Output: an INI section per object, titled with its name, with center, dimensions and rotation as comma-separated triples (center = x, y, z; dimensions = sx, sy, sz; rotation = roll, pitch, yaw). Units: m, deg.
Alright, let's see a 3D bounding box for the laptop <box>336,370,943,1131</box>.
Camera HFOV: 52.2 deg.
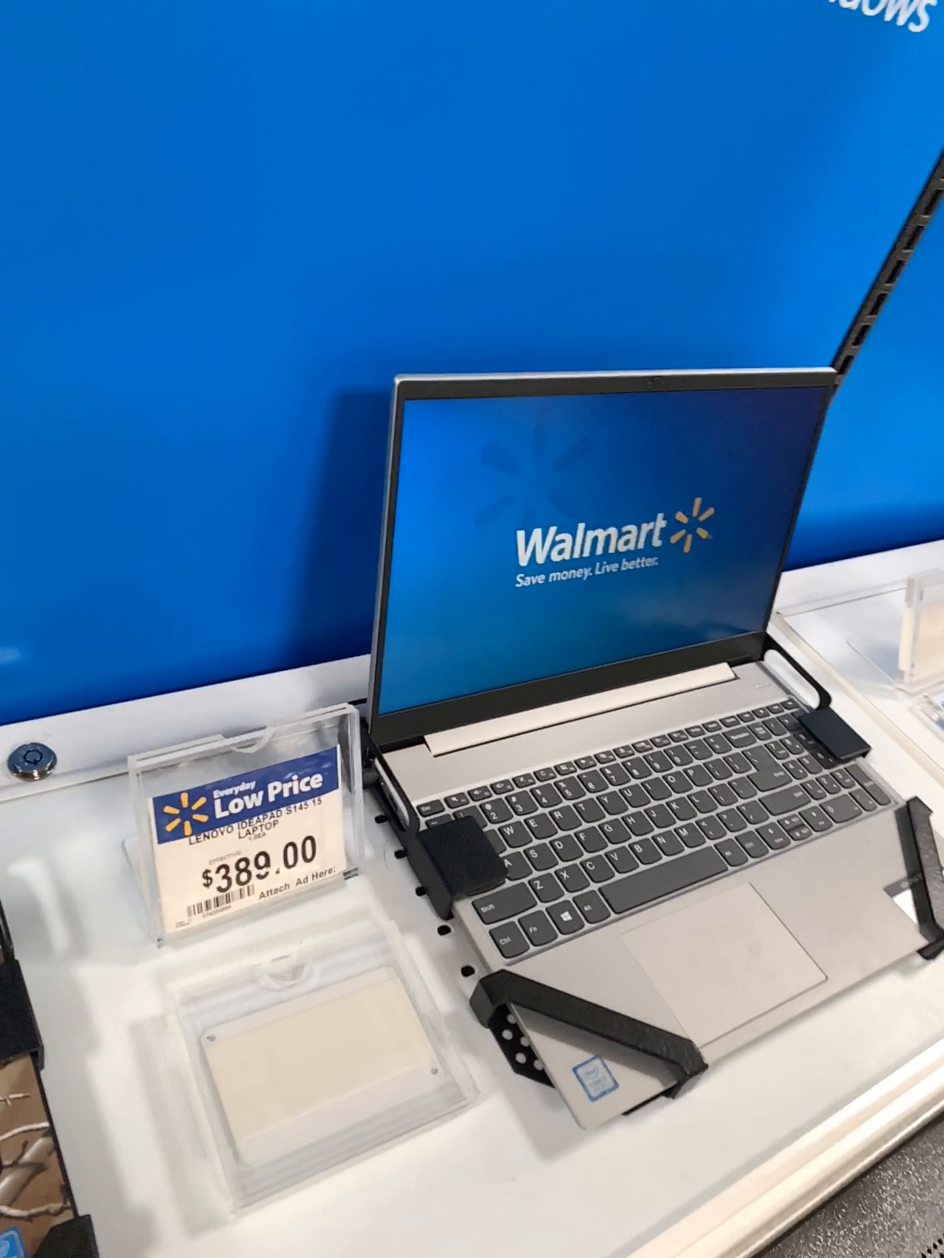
[laptop]
center = 0.157, 0.026, 0.564
dimensions = 0.351, 0.217, 0.299
rotation = -11, 47, -32
